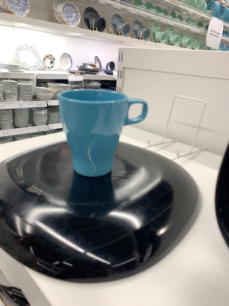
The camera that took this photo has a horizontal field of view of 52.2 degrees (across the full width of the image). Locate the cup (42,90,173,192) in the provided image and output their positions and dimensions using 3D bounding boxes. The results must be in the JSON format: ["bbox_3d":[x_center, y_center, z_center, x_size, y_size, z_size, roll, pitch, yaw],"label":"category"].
[{"bbox_3d":[-0.016,-0.027,0.319,0.140,0.100,0.100,-6,24,-26],"label":"cup"}]
